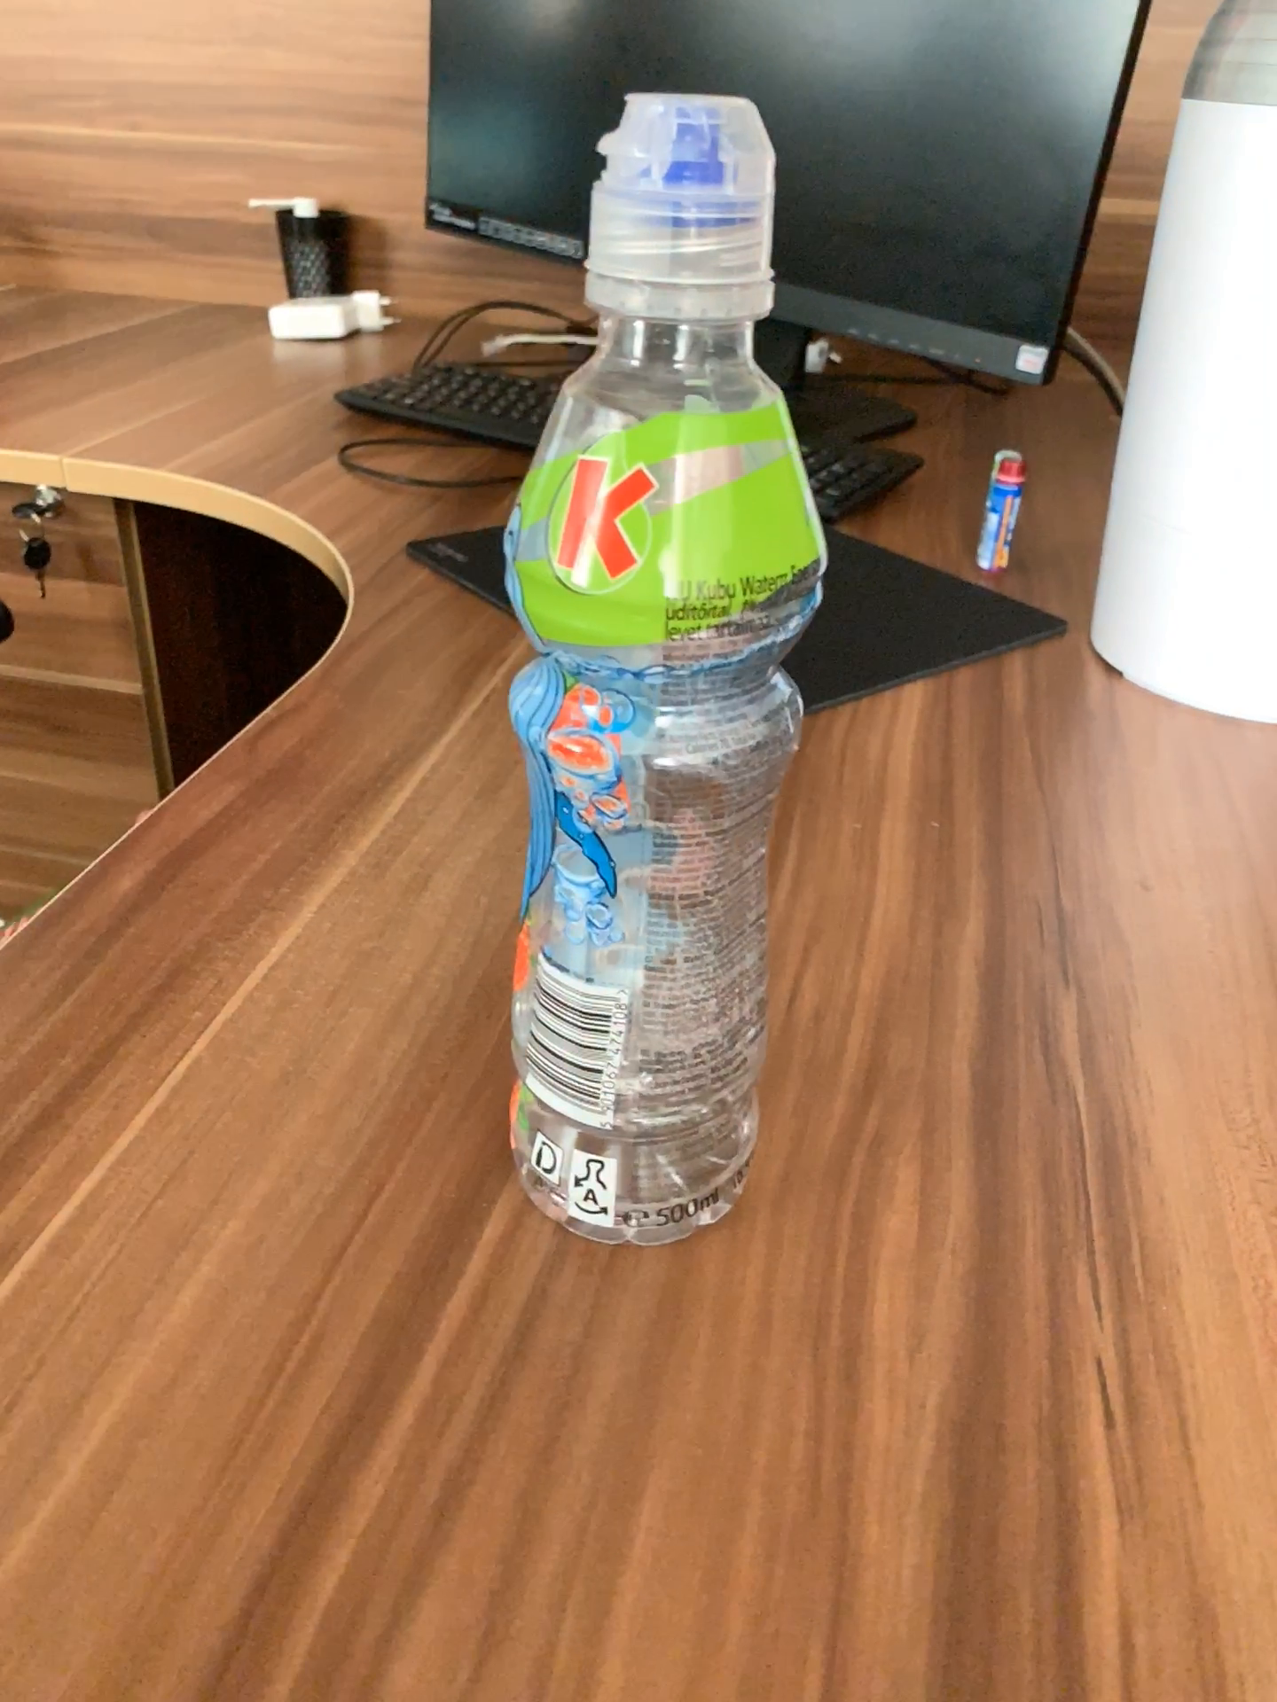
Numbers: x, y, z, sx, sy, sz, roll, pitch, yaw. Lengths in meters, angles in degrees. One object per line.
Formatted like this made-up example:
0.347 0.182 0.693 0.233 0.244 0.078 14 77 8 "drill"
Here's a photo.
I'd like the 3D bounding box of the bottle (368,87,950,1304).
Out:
-0.001 -0.024 0.283 0.070 0.239 0.070 2 31 -1 "bottle"
